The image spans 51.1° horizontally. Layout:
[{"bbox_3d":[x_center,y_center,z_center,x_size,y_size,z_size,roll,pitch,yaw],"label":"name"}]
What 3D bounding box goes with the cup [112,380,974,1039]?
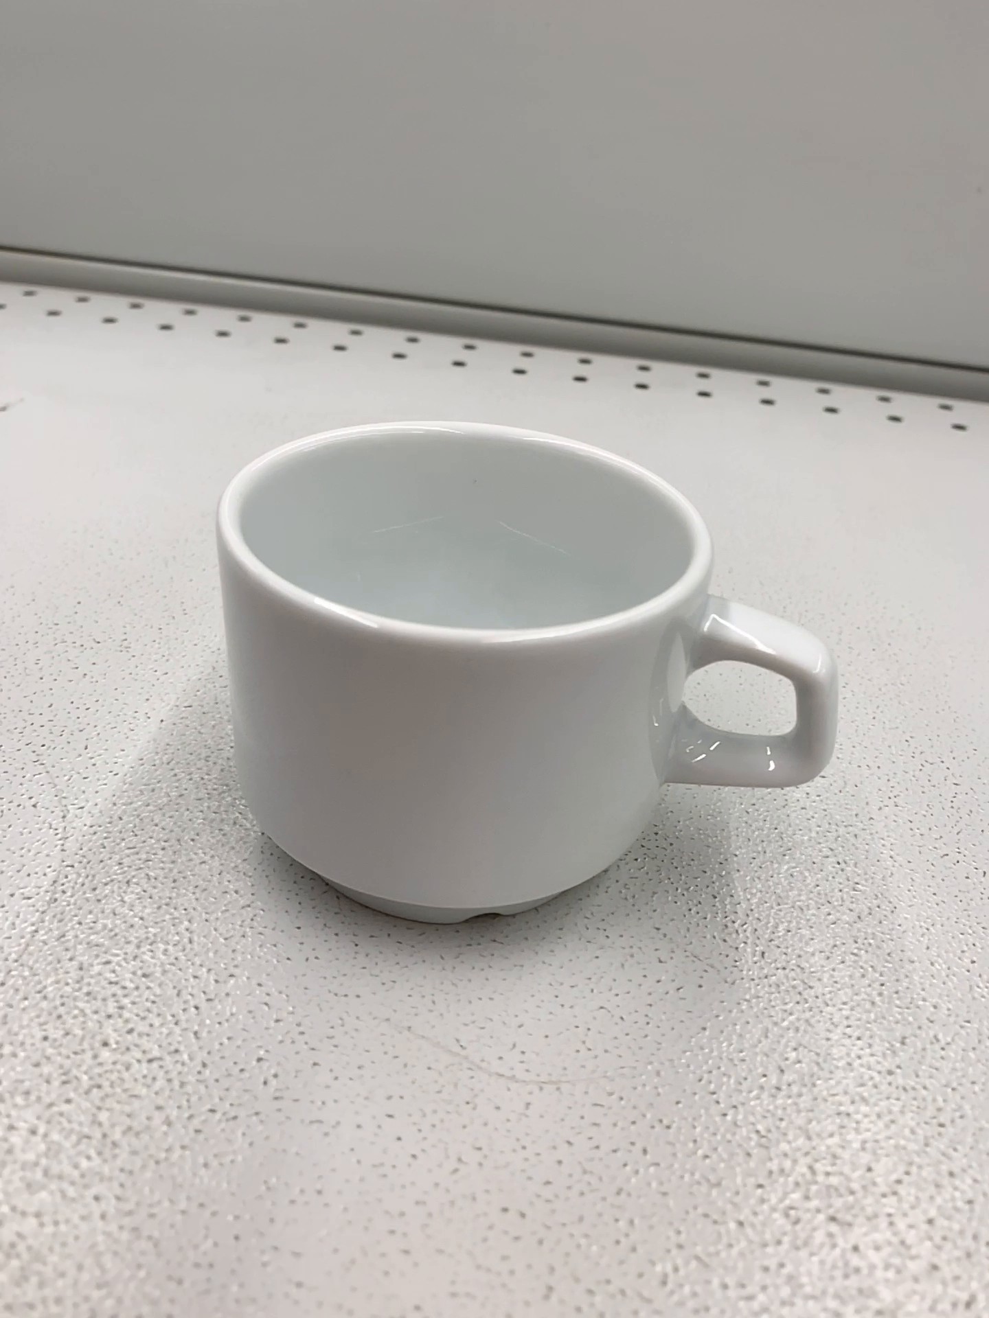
[{"bbox_3d":[0.009,0.000,0.173,0.105,0.056,0.082,10,33,8],"label":"cup"}]
